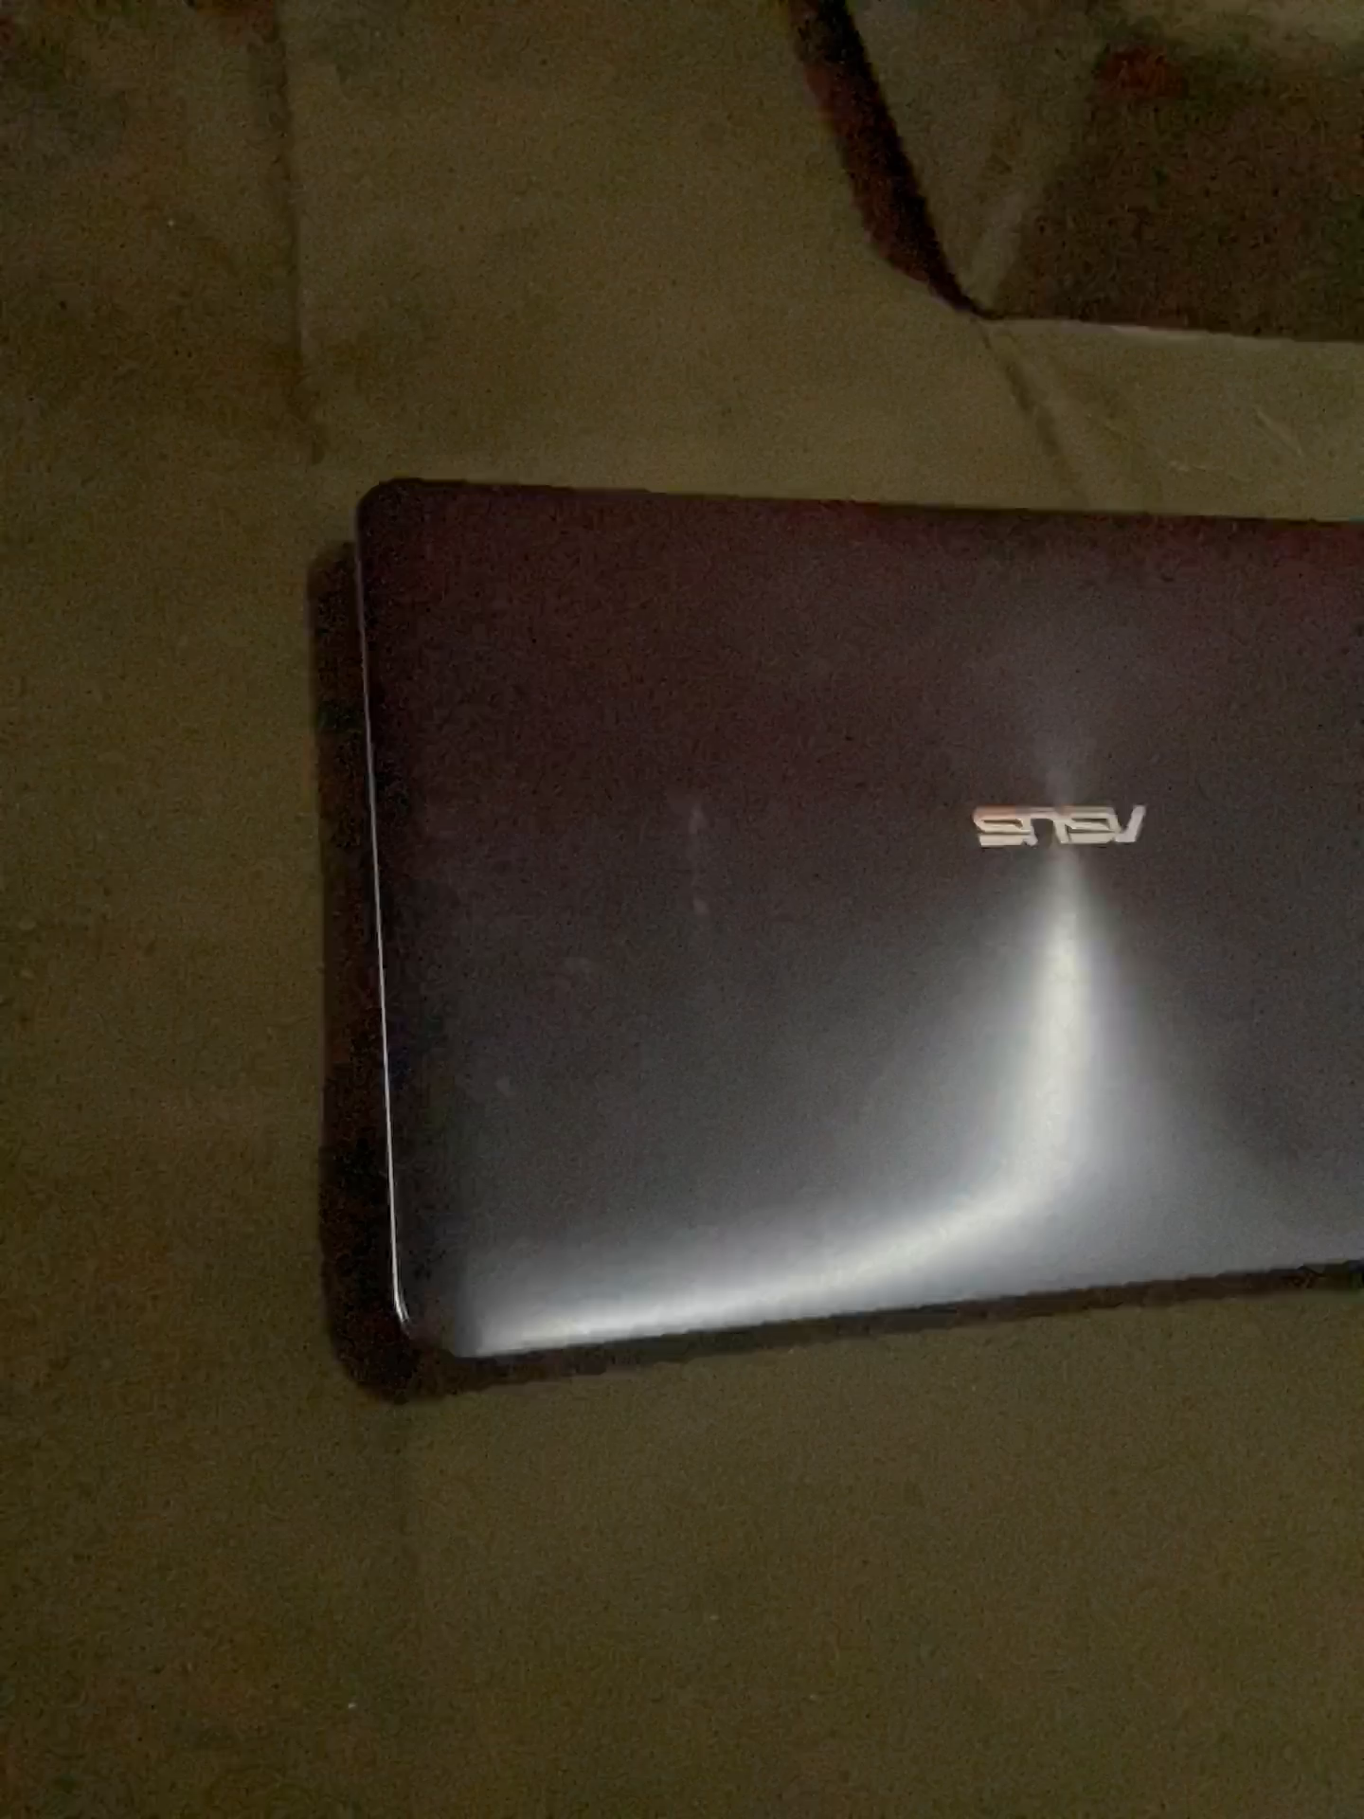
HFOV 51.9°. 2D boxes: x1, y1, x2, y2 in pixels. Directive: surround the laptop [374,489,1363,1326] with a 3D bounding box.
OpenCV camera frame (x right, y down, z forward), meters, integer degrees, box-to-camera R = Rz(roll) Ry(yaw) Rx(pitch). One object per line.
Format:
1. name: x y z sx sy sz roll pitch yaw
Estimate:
1. laptop: 0.109 -0.022 0.393 0.370 0.004 0.235 -2 62 -14
